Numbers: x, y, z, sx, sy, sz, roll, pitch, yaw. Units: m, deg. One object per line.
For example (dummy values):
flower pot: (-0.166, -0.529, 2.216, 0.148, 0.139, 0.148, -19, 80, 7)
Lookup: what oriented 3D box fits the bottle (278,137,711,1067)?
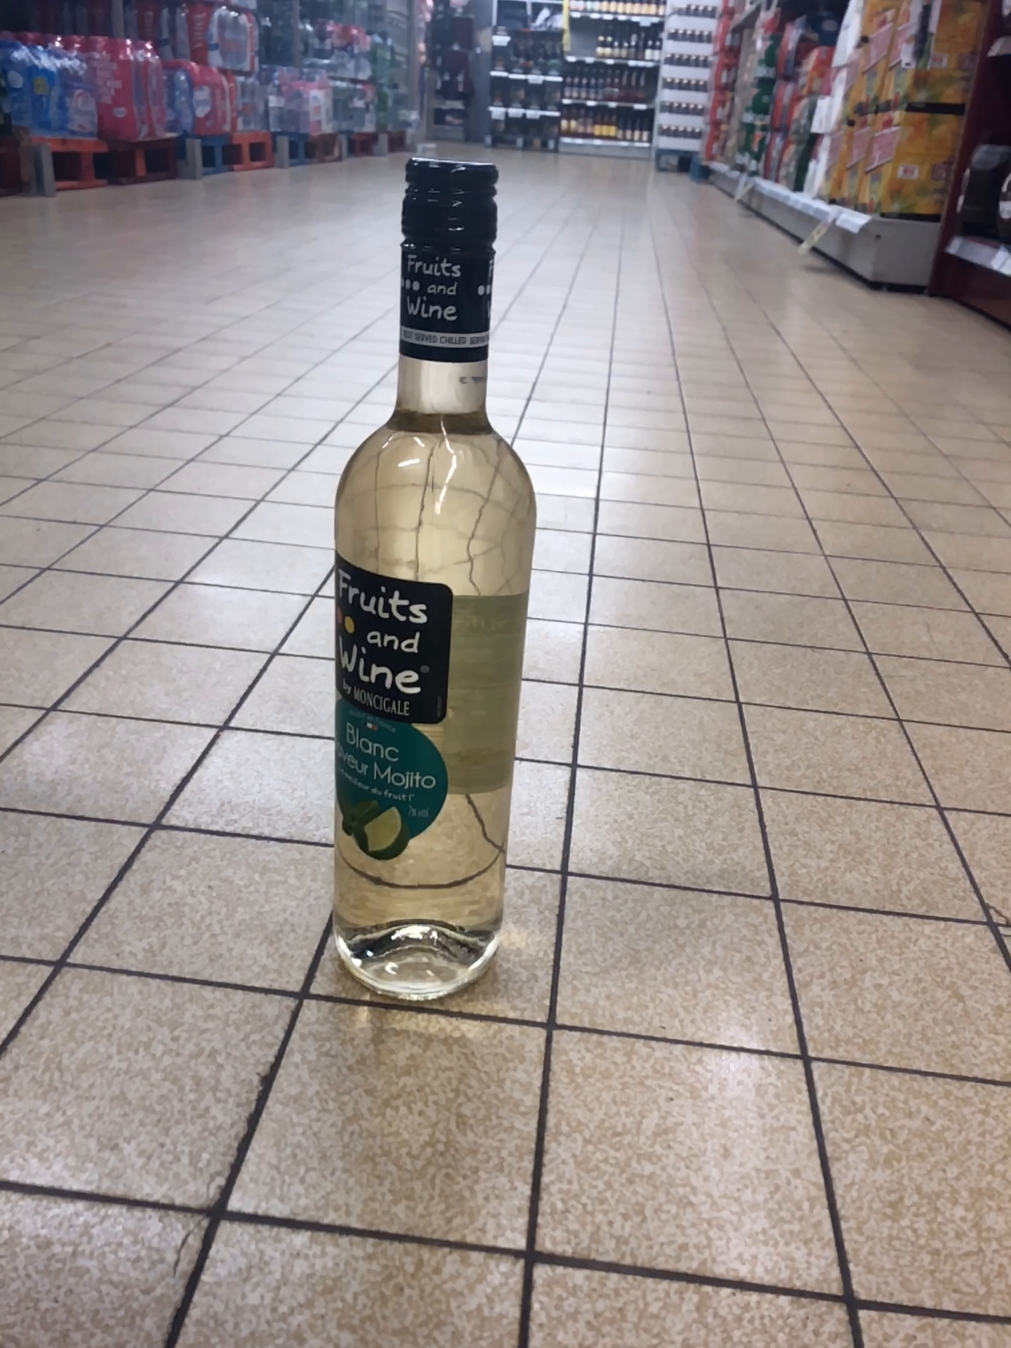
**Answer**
bottle: (-0.010, -0.021, 0.395, 0.100, 0.298, 0.091, 15, 27, 22)
